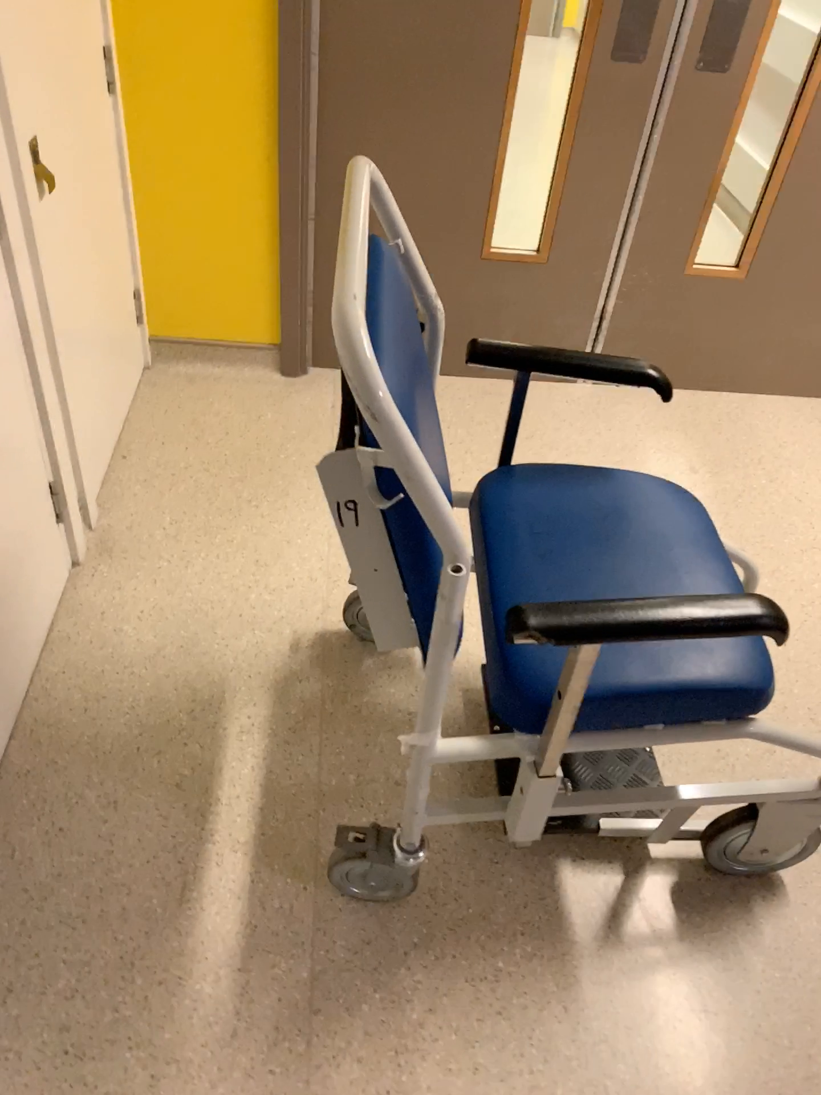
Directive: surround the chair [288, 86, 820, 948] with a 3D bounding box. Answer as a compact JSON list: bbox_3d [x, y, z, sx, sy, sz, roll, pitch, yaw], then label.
[{"bbox_3d":[0.319,-0.014,1.348,0.940,1.030,0.828,4,42,-4],"label":"chair"}]
